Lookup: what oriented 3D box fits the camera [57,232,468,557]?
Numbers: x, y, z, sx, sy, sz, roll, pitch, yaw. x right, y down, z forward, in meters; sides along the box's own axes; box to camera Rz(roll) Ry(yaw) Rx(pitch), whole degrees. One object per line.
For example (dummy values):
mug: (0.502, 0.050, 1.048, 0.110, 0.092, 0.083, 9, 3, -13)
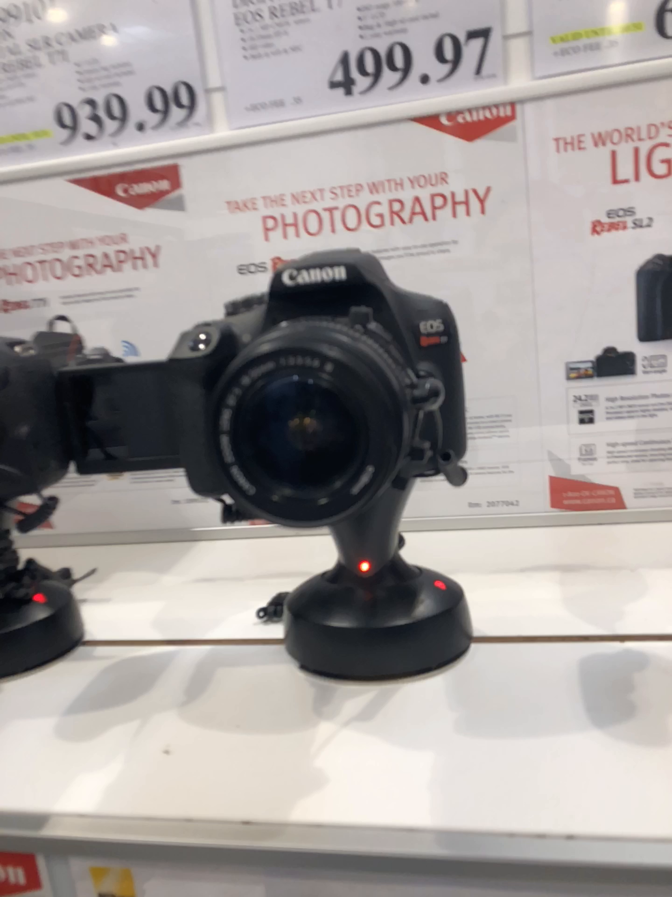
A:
camera: (-0.015, -0.027, 0.302, 0.130, 0.100, 0.120, -4, 13, 11)
